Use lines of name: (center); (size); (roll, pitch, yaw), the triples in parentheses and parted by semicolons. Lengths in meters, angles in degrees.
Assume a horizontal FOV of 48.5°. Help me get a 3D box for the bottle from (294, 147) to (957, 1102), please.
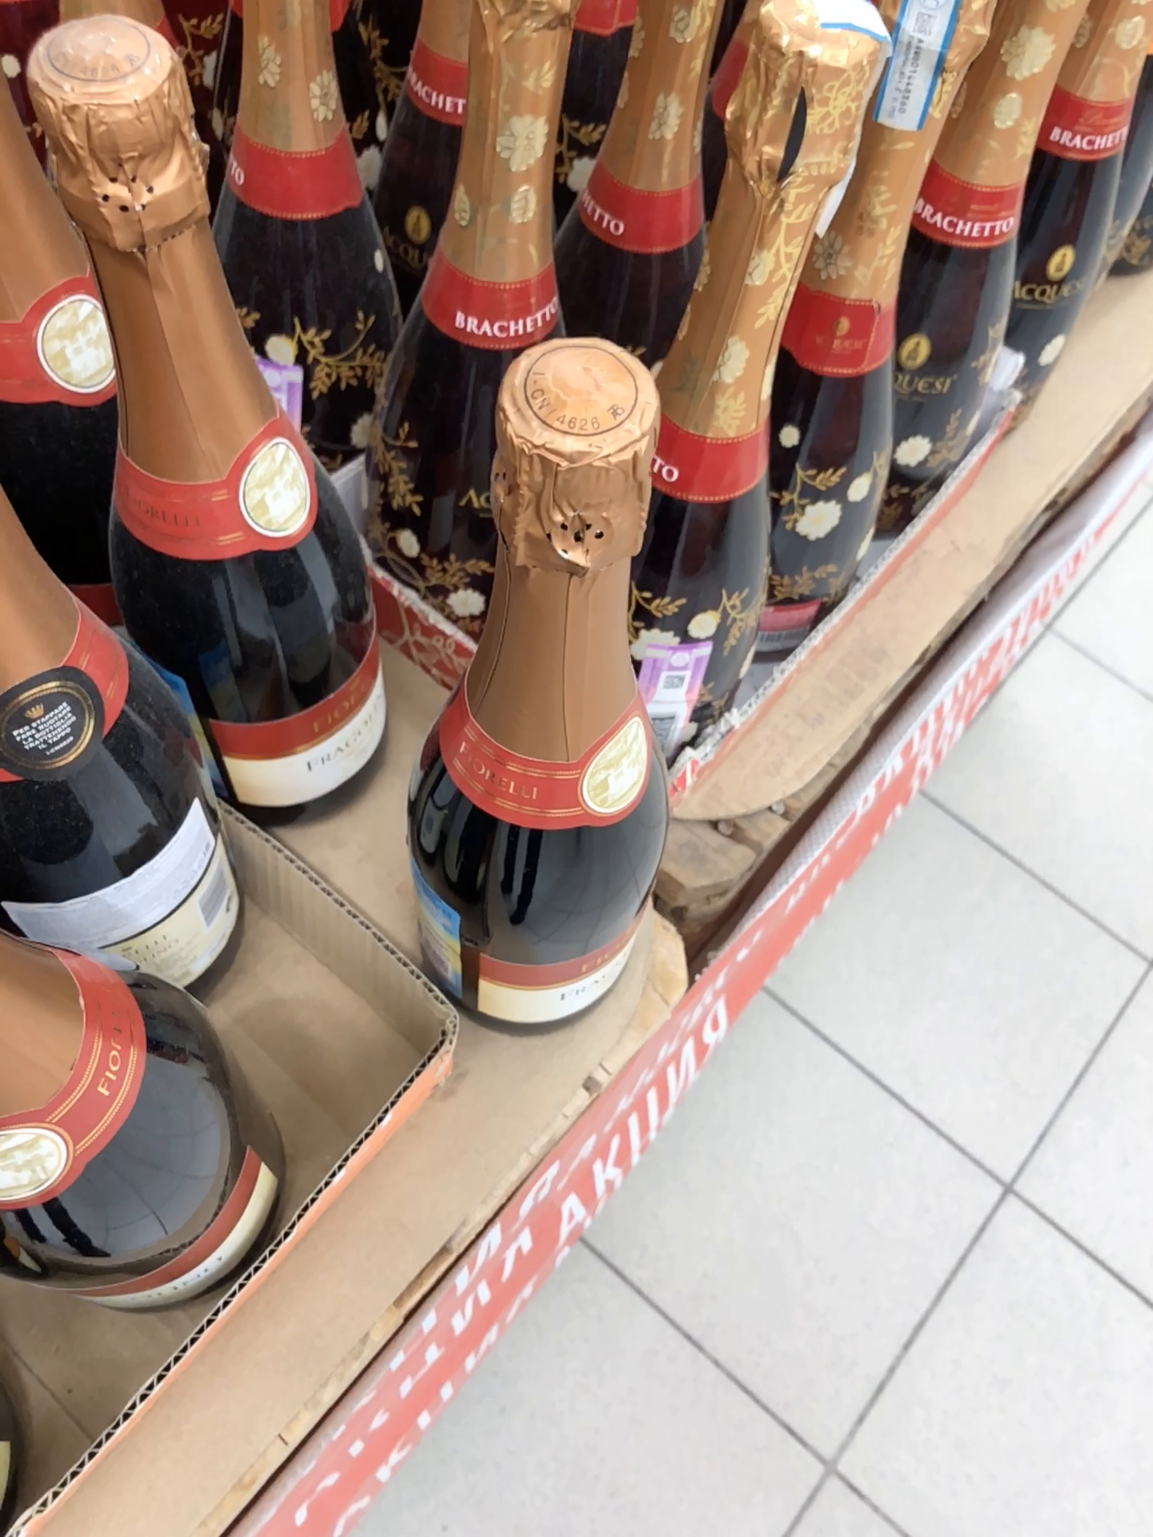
bottle: (-0.004, -0.004, 0.371); (0.090, 0.299, 0.090); (3, 61, -5)
